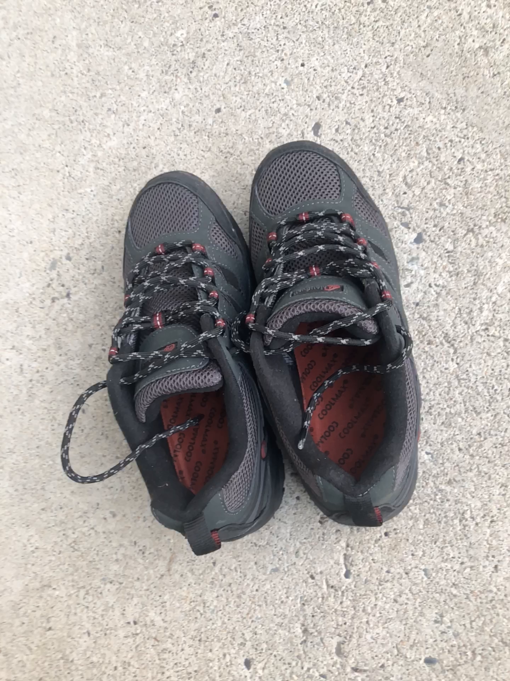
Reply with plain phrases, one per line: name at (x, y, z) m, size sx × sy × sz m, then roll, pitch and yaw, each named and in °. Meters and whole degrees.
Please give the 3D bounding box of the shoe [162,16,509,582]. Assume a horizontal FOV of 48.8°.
shoe at (0.045, -0.025, 0.365) m, size 0.120 × 0.110 × 0.300 m, roll -16°, pitch 77°, yaw 12°

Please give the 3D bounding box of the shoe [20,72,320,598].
shoe at (-0.057, -0.004, 0.393) m, size 0.120 × 0.110 × 0.302 m, roll -16°, pitch 77°, yaw 12°
